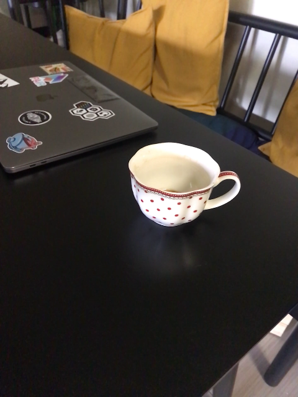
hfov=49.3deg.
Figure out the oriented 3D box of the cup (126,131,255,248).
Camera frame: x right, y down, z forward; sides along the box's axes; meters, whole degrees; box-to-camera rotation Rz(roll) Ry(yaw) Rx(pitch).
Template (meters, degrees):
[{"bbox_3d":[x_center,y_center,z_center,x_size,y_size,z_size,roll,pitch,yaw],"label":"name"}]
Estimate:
[{"bbox_3d":[0.045,-0.014,0.358,0.120,0.069,0.091,10,39,8],"label":"cup"}]
